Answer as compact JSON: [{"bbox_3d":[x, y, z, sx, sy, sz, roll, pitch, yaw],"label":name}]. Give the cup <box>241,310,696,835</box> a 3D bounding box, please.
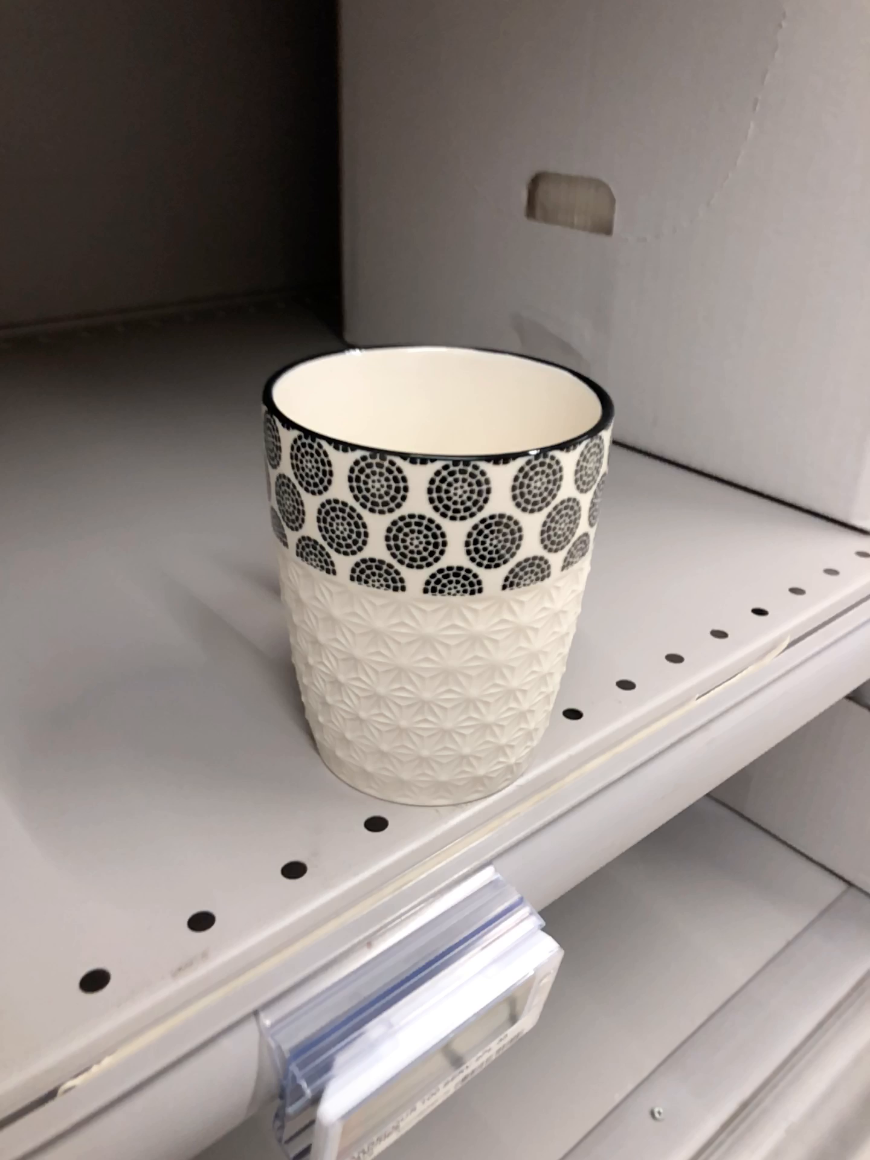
[{"bbox_3d":[-0.002,-0.011,0.261,0.088,0.096,0.106,-4,30,-12],"label":"cup"}]
